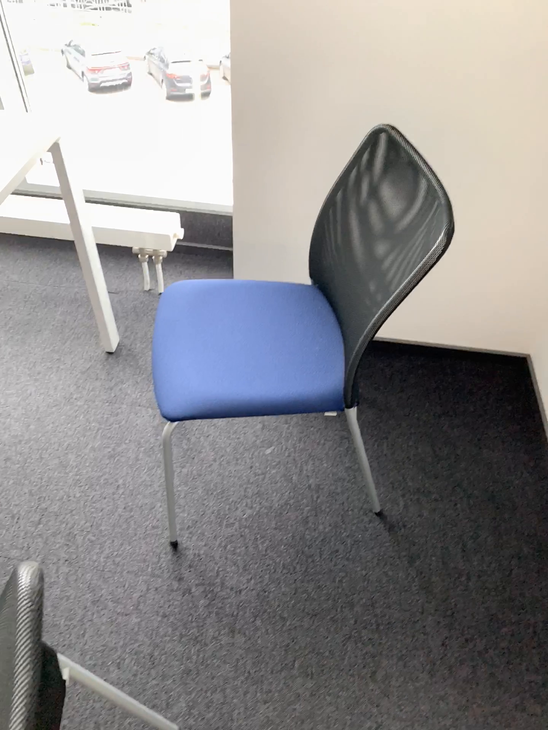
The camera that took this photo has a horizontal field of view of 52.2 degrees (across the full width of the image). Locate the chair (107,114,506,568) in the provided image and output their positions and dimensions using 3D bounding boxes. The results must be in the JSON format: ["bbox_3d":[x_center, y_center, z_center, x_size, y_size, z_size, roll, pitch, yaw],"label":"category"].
[{"bbox_3d":[-0.003,-0.014,1.309,0.590,0.895,0.533,-6,48,-9],"label":"chair"}]
